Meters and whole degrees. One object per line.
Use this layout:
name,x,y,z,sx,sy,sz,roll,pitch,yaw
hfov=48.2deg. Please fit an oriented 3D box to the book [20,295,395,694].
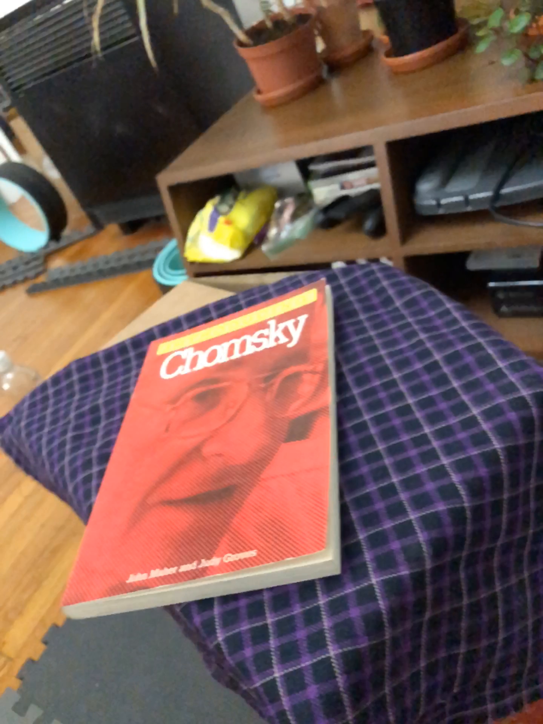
book,-0.028,0.060,0.367,0.180,0.020,0.241,-17,36,17
